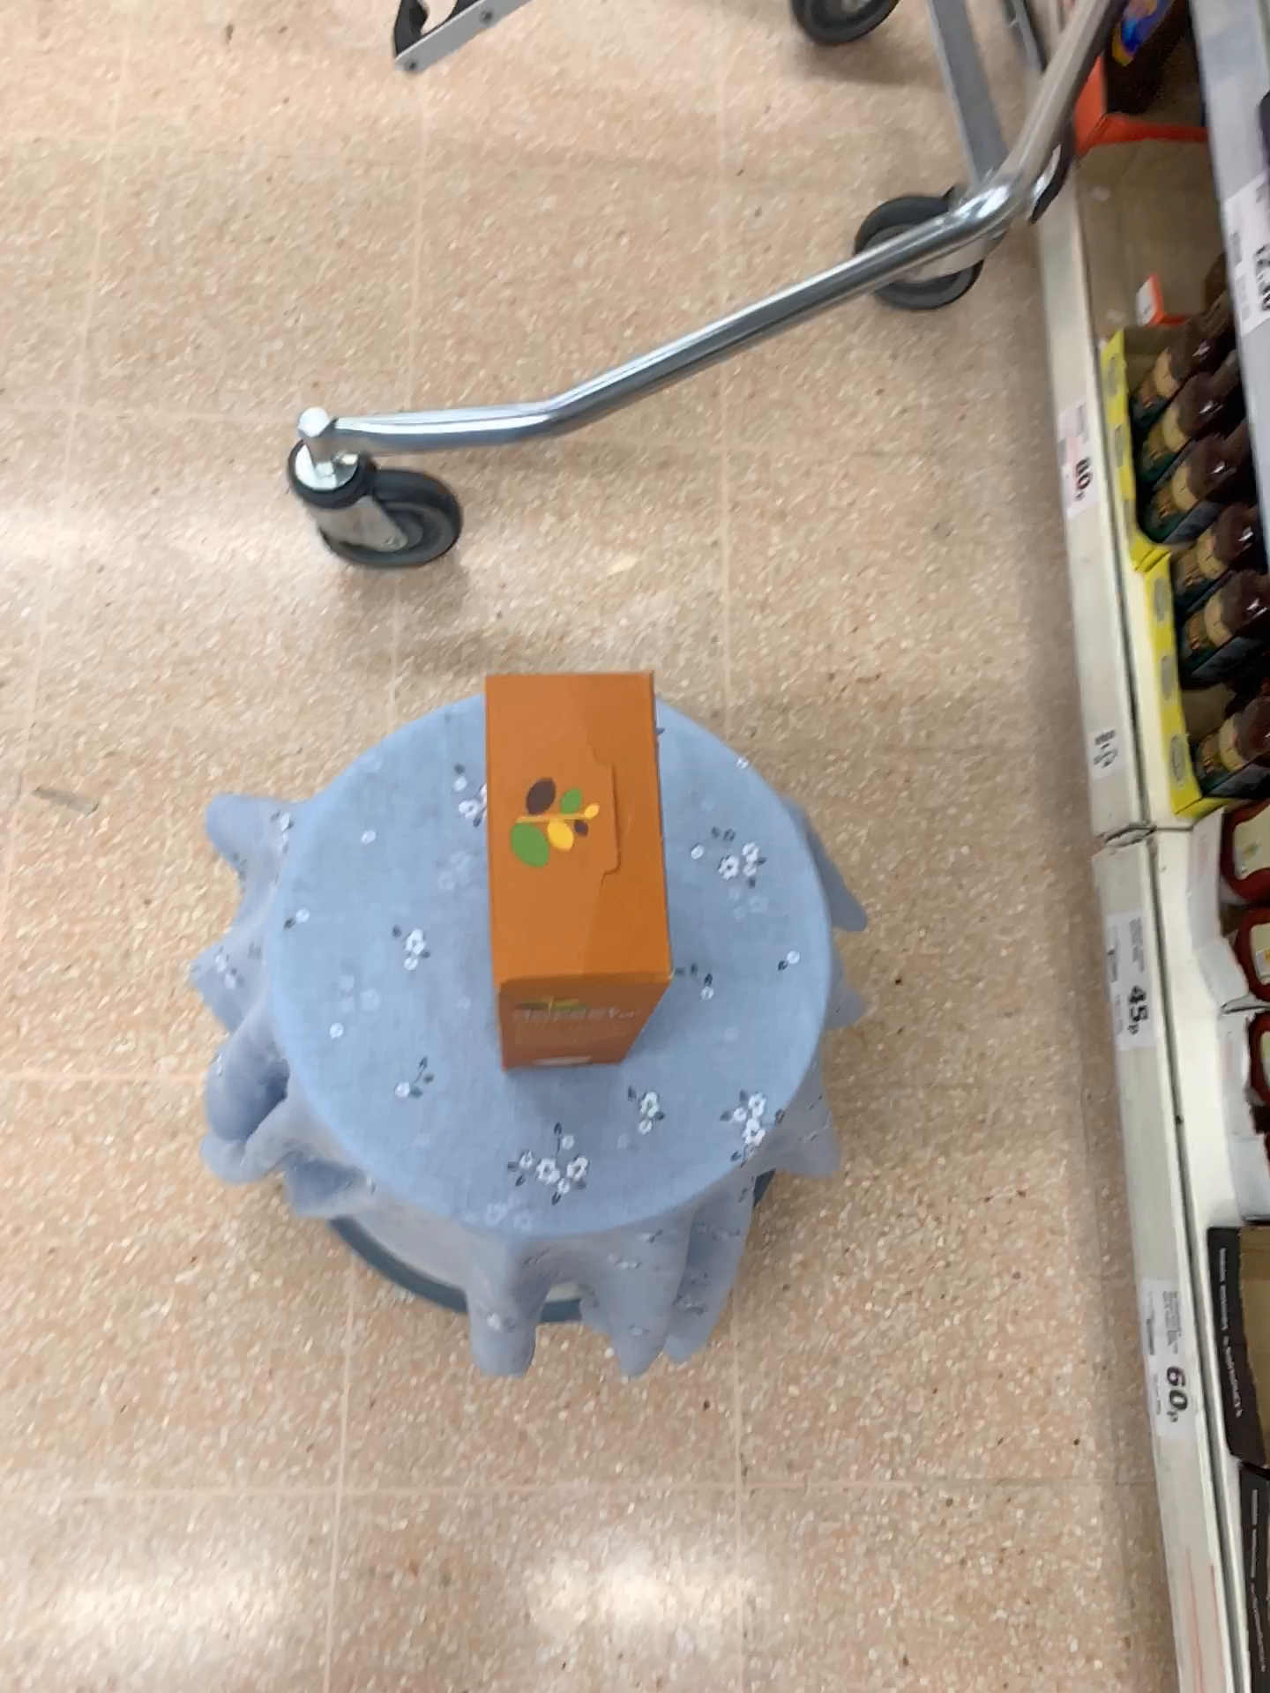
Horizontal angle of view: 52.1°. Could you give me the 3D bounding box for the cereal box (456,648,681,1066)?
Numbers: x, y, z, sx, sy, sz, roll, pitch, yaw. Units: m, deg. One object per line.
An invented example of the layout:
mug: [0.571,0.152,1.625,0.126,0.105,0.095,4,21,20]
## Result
cereal box: [-0.033,0.019,0.553,0.070,0.229,0.120,-3,75,-6]
